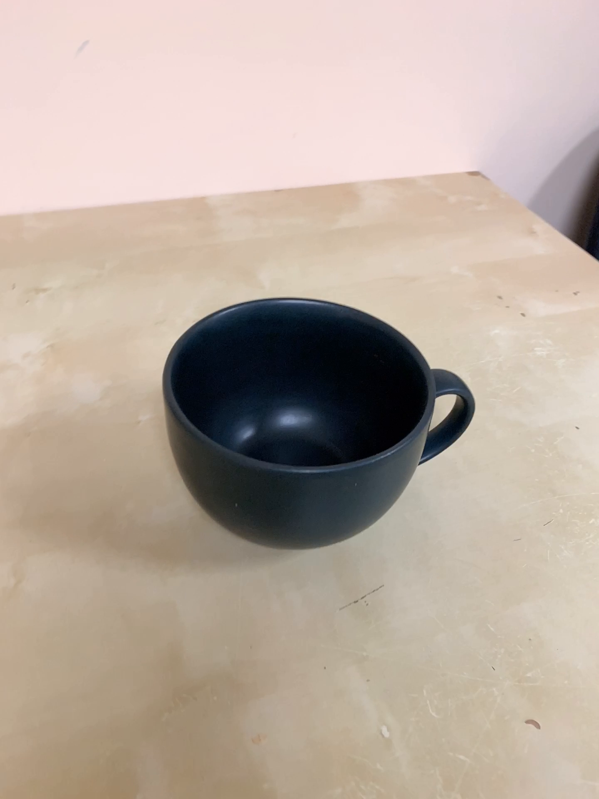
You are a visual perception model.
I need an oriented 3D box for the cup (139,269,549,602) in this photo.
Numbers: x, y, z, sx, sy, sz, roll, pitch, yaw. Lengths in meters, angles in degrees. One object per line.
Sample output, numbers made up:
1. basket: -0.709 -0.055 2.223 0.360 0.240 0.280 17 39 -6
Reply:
1. cup: 0.011 0.006 0.318 0.158 0.068 0.136 -11 45 -17
